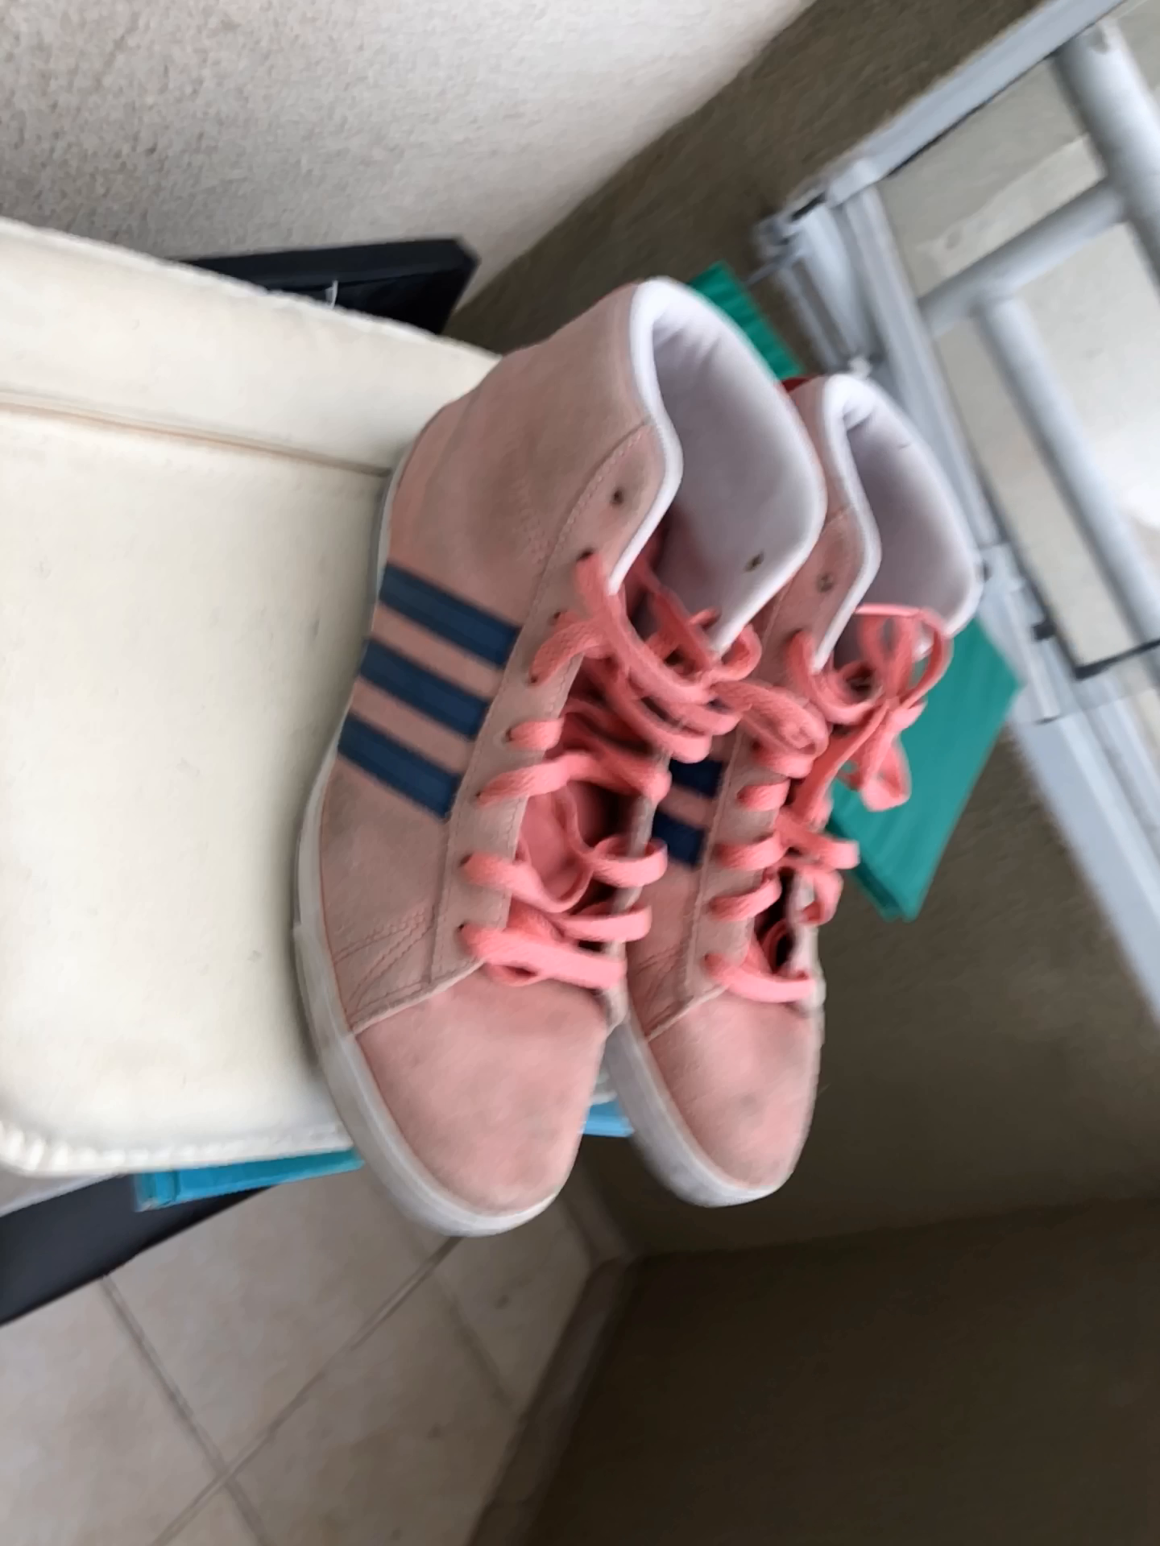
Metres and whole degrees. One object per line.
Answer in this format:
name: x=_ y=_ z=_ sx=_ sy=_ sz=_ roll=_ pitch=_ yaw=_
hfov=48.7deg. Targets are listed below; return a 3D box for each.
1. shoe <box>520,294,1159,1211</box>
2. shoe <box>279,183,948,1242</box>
shoe: x=0.074 y=0.002 z=0.420 sx=0.101 sy=0.129 sz=0.250 roll=10 pitch=65 yaw=-43
shoe: x=0.001 y=-0.006 z=0.359 sx=0.101 sy=0.129 sz=0.250 roll=18 pitch=60 yaw=-40
